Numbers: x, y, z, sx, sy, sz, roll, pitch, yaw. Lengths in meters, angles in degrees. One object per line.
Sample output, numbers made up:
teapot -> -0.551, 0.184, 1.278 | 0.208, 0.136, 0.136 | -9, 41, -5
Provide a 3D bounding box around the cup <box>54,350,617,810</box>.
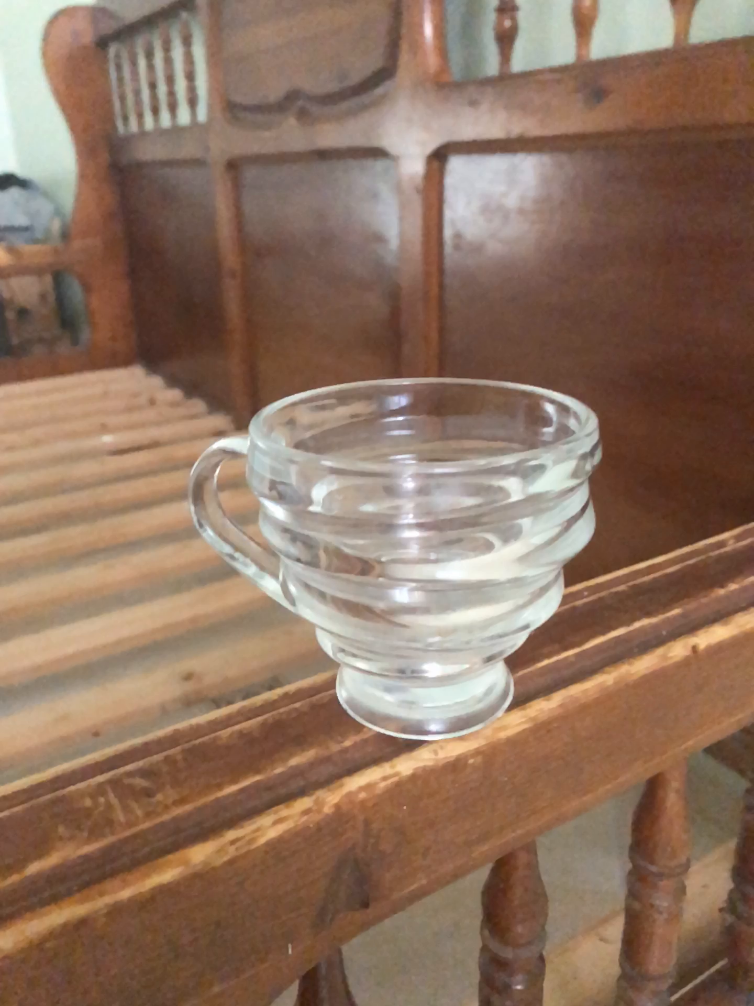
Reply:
cup -> -0.008, 0.006, 0.205 | 0.106, 0.065, 0.076 | 12, 25, 32
